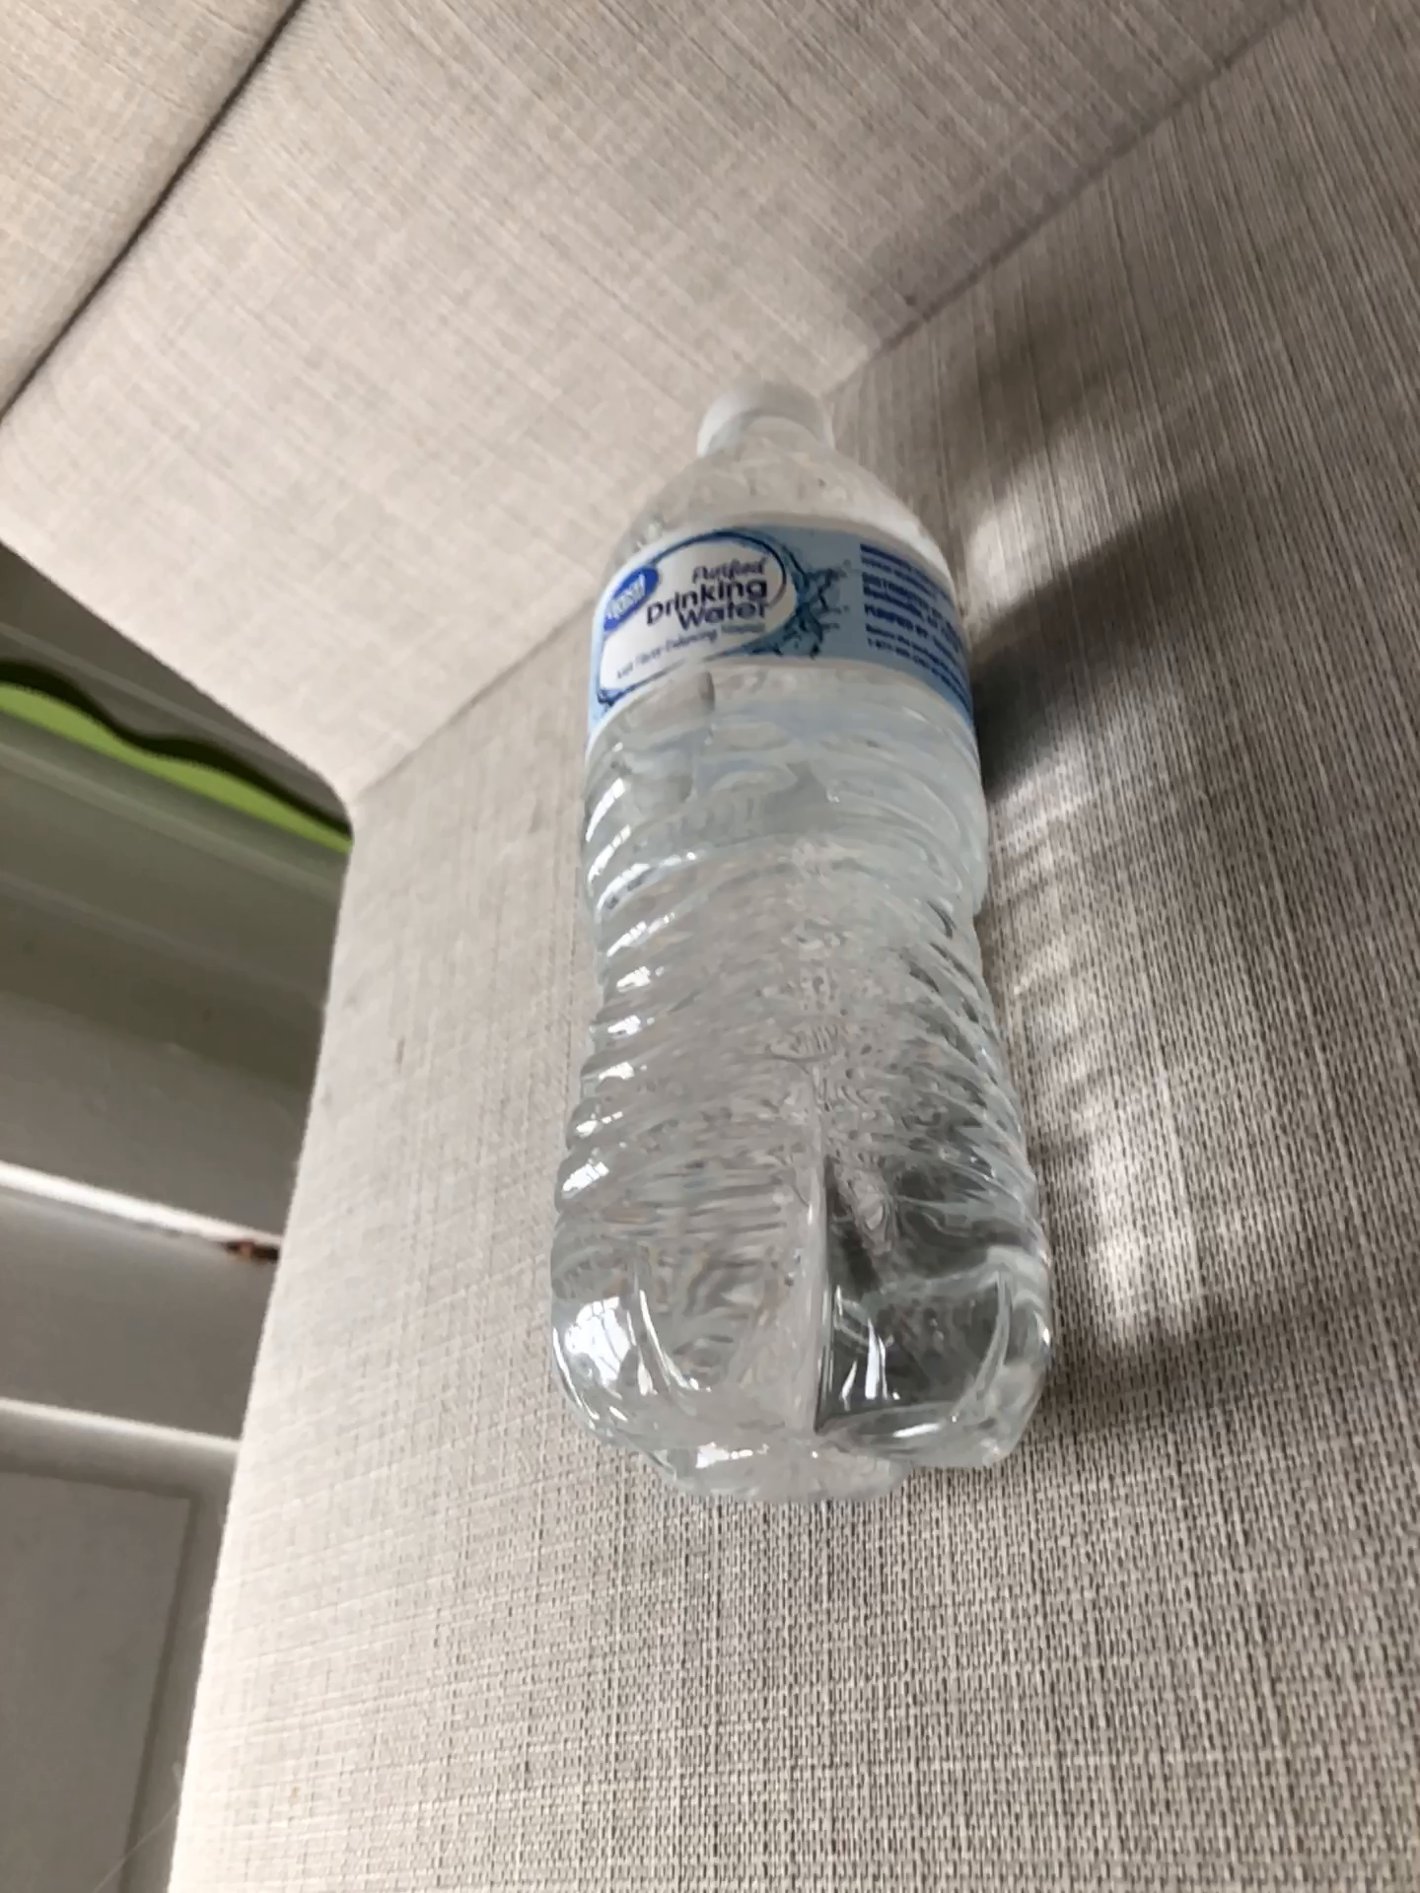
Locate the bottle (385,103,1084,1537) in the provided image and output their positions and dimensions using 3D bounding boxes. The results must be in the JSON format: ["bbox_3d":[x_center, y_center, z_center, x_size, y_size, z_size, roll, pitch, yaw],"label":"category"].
[{"bbox_3d":[0.007,-0.033,0.266,0.070,0.079,0.231,-10,54,12],"label":"bottle"}]
